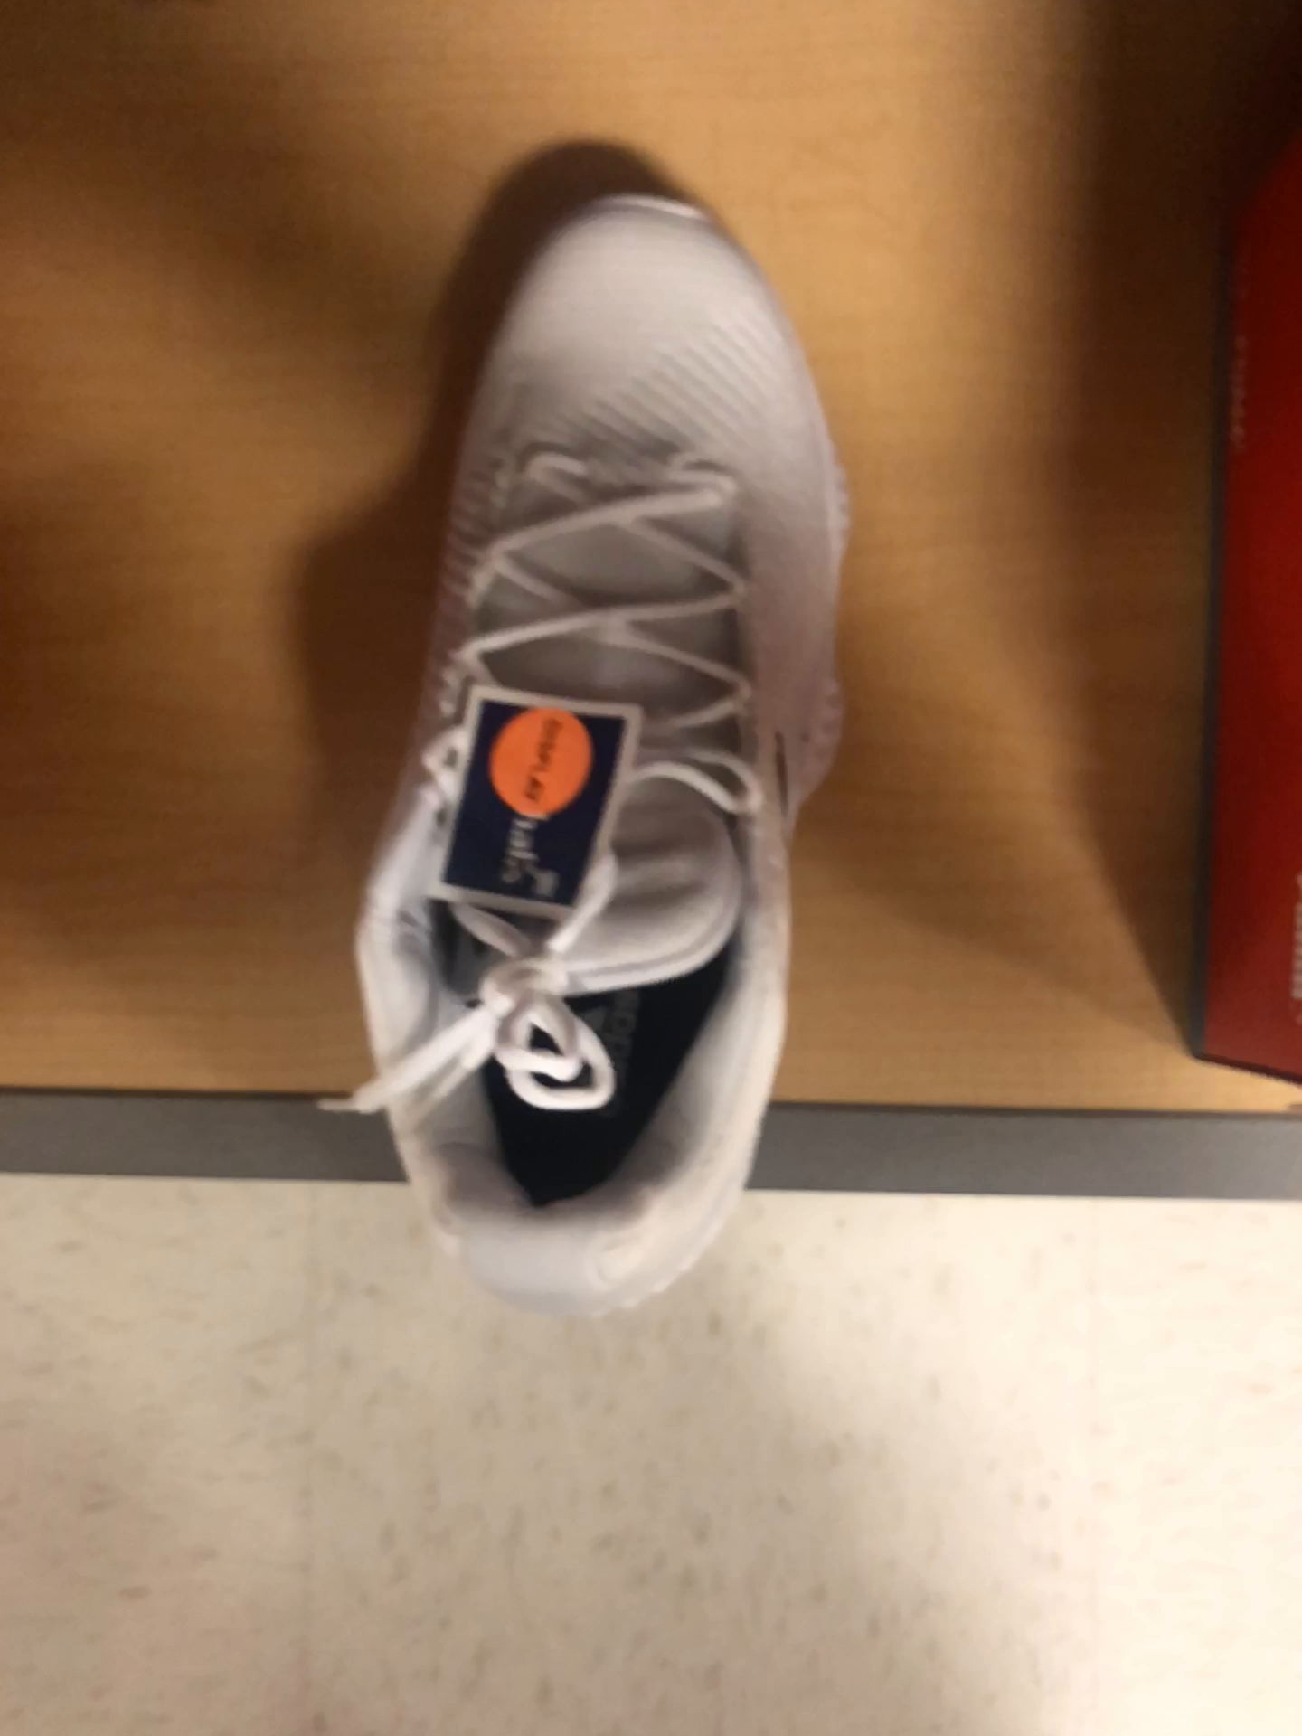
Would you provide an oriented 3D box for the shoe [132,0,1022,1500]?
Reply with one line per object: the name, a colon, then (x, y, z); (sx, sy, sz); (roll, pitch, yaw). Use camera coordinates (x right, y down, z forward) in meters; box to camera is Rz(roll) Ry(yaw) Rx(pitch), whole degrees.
shoe: (-0.010, -0.058, 0.345); (0.120, 0.150, 0.335); (8, 87, 2)
